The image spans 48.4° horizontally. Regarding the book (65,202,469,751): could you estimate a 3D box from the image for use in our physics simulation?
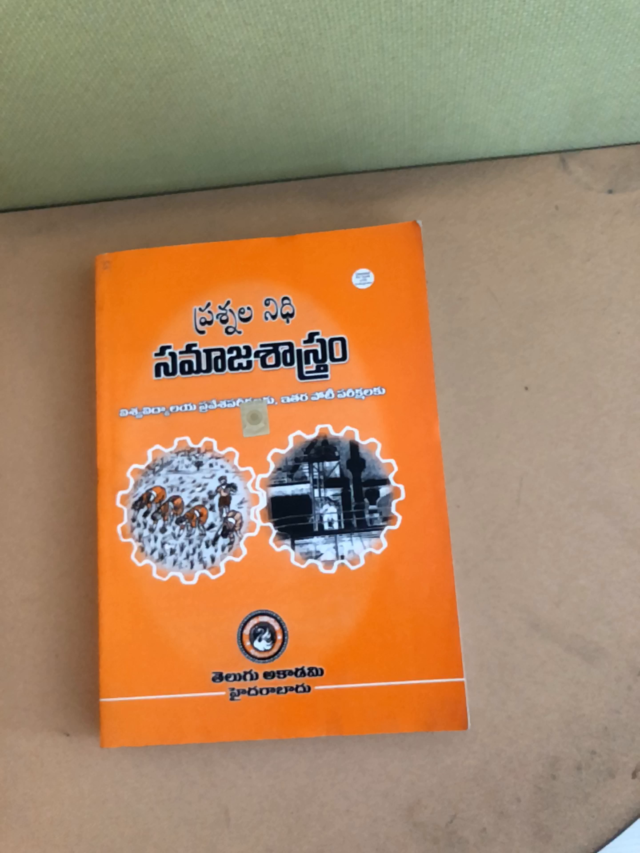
[{"bbox_3d":[-0.037,0.024,0.420,0.210,0.050,0.290,-5,78,4],"label":"book"}]
